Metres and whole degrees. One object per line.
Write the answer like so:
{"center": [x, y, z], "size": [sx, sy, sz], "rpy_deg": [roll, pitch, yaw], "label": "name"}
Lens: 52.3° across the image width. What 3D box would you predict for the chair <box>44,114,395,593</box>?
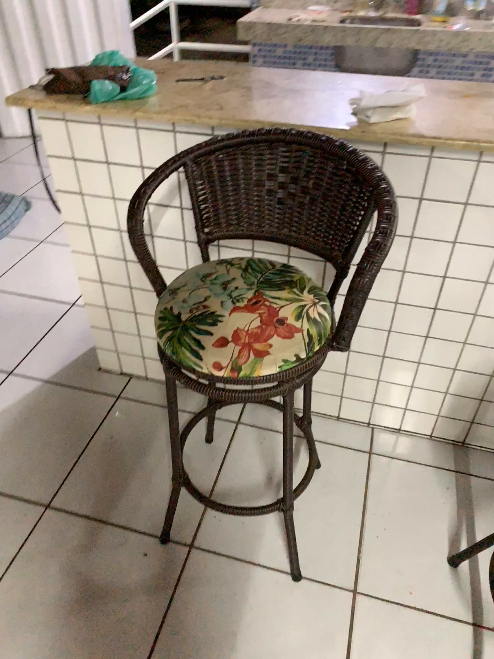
{"center": [0.003, 0.085, 1.218], "size": [0.500, 0.974, 0.533], "rpy_deg": [10, 40, 12], "label": "chair"}
